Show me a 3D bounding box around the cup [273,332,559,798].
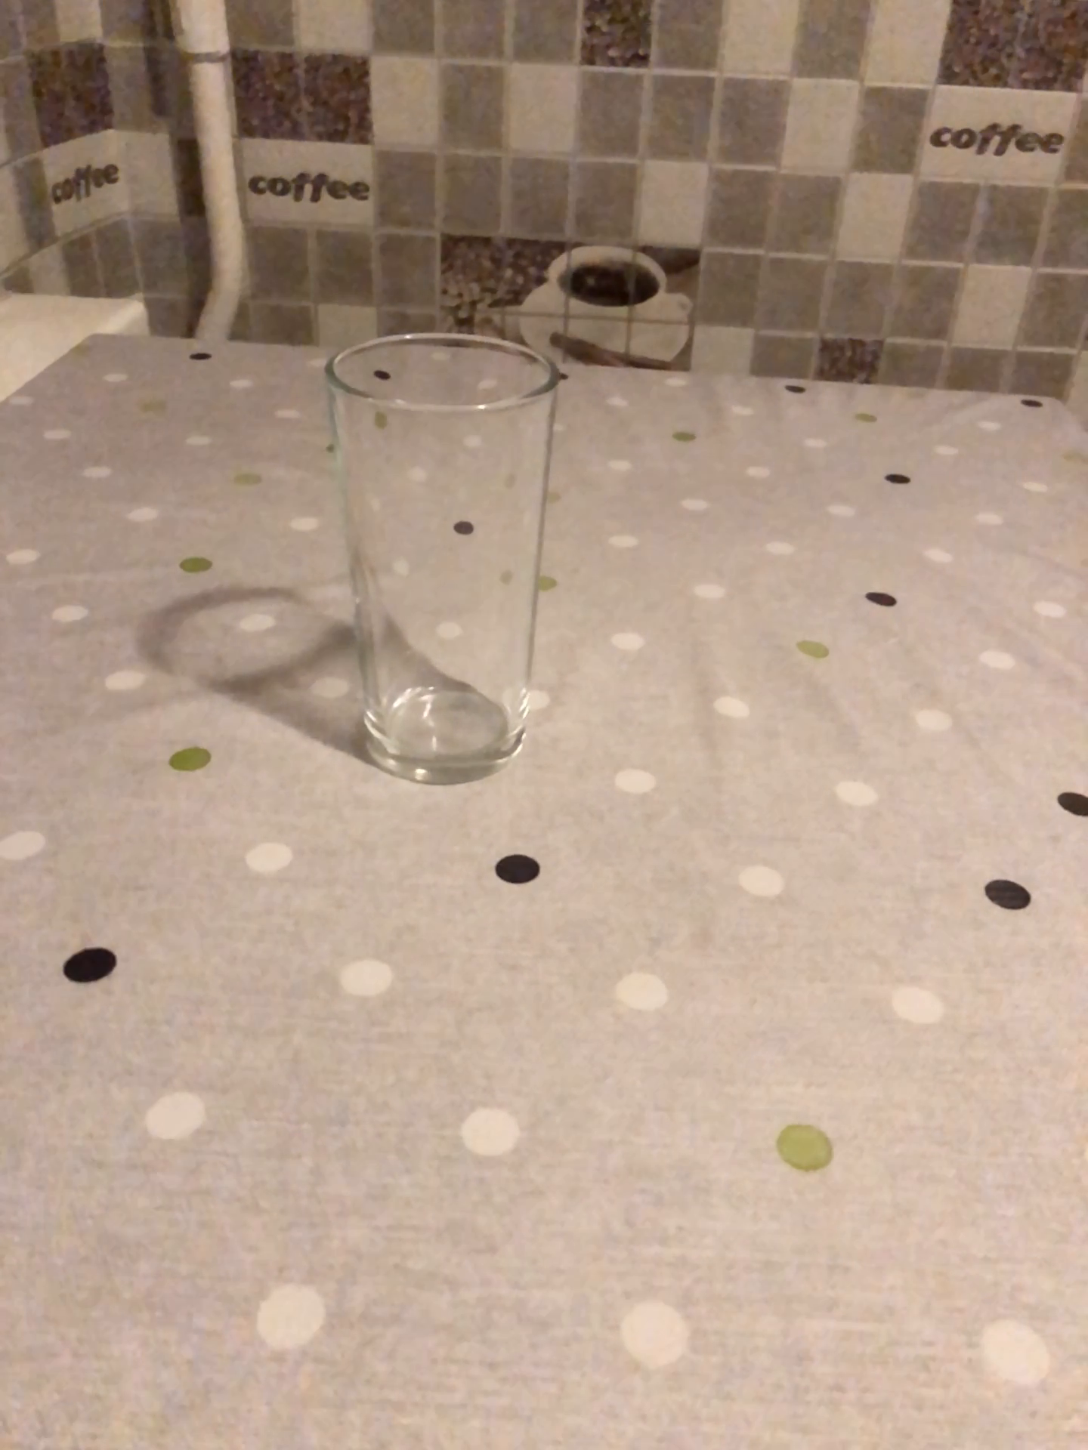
[{"bbox_3d":[-0.034,-0.048,0.361,0.069,0.117,0.068,2,34,-1],"label":"cup"}]
